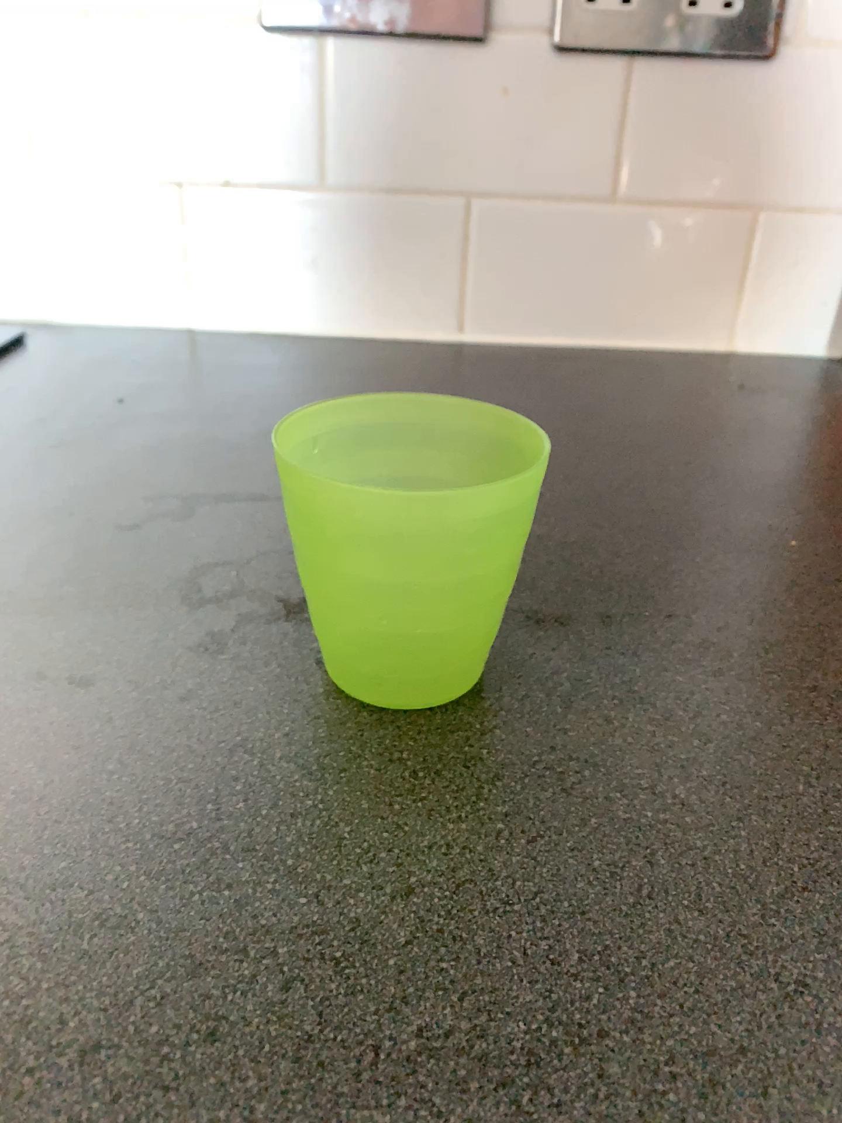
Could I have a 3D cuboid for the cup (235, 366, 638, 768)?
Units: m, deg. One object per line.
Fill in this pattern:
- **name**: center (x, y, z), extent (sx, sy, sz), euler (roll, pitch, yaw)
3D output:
- **cup**: center (0.001, -0.005, 0.275), extent (0.090, 0.080, 0.078), euler (-15, 35, -30)
